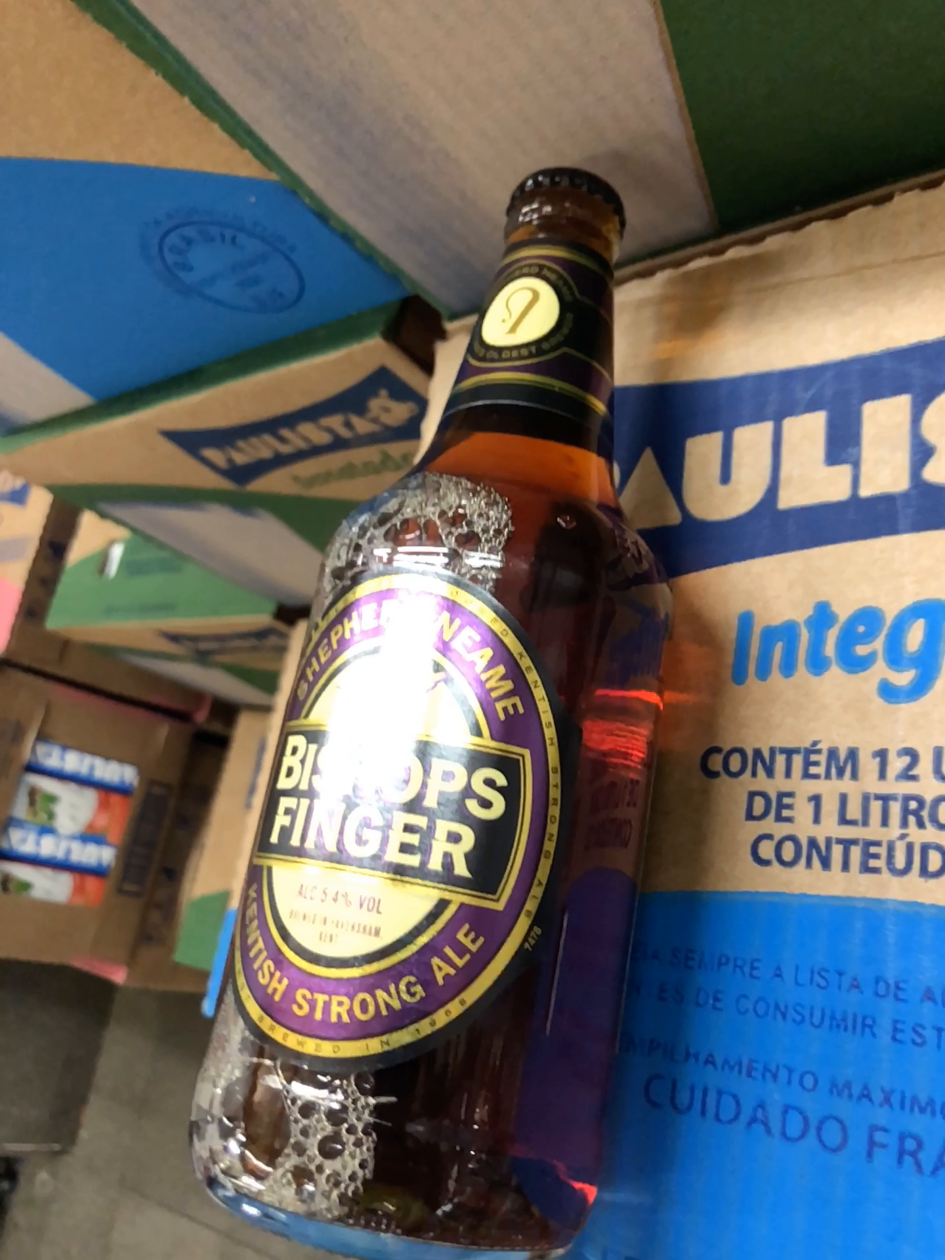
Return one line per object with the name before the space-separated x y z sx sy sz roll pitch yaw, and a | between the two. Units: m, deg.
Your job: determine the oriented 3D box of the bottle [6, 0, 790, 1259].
bottle | -0.002 -0.012 0.215 0.080 0.070 0.250 -3 67 40
